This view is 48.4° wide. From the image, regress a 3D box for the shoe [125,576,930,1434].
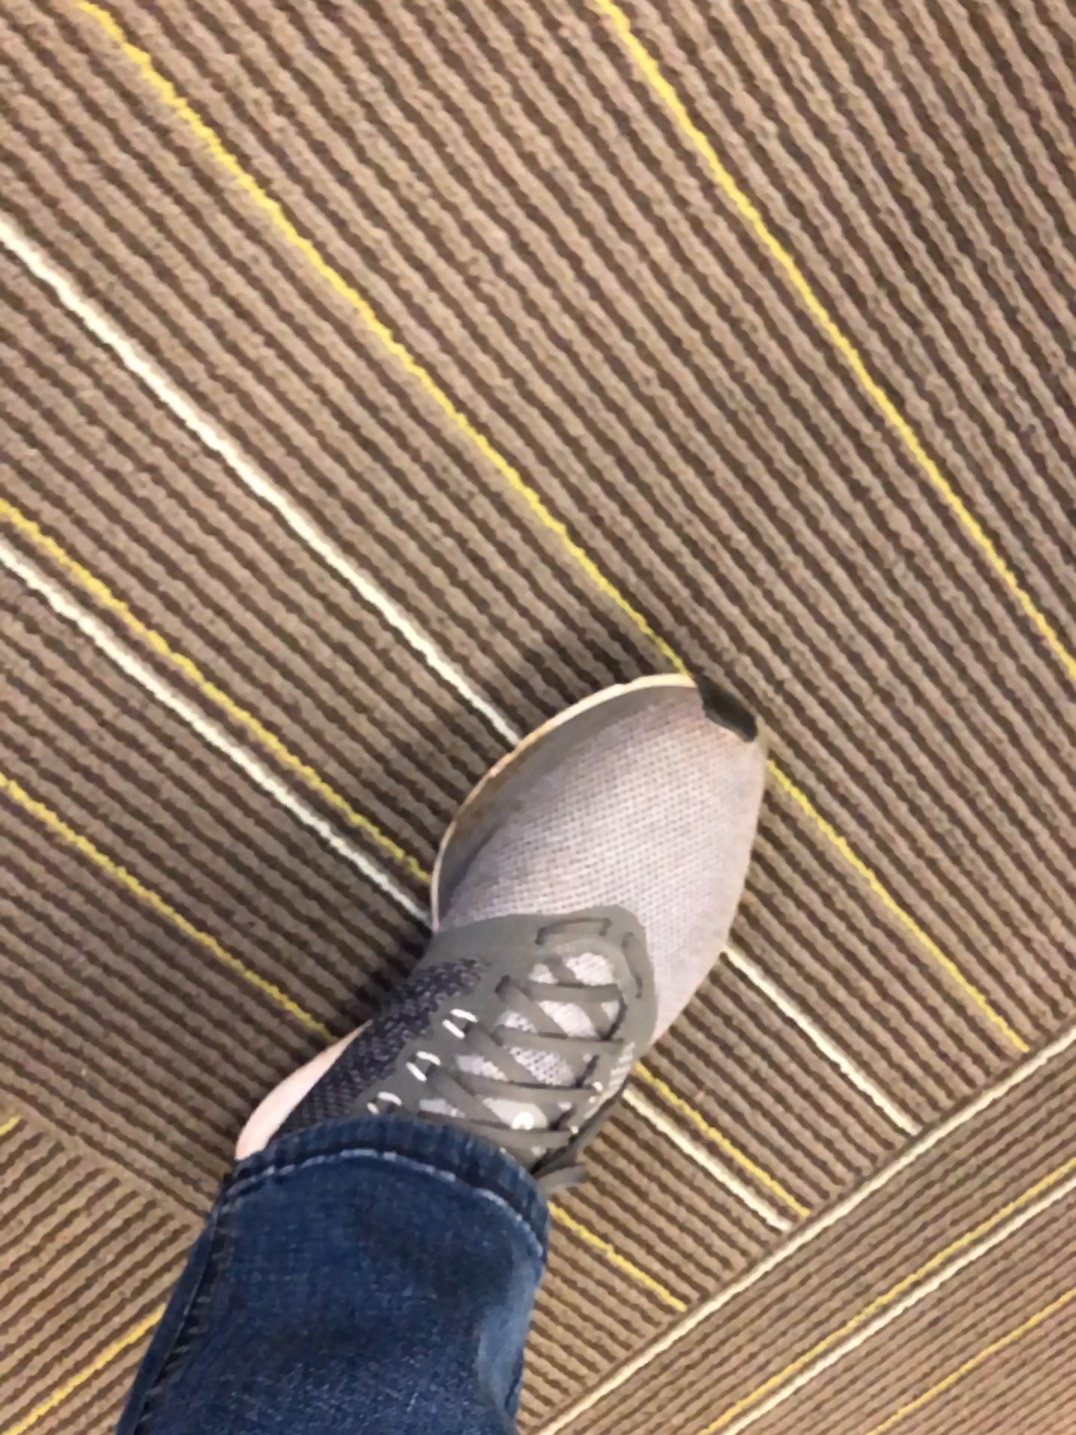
[{"bbox_3d":[-0.008,0.110,0.431,0.120,0.060,0.300,35,96,-20],"label":"shoe"}]
